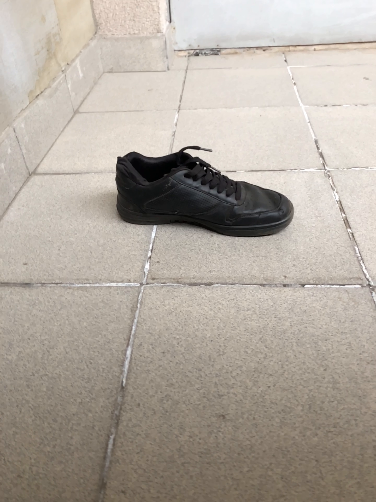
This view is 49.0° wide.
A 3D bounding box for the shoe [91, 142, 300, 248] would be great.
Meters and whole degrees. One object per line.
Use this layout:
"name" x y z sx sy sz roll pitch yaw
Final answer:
"shoe" 0.017 -0.092 0.637 0.290 0.099 0.111 6 40 12
